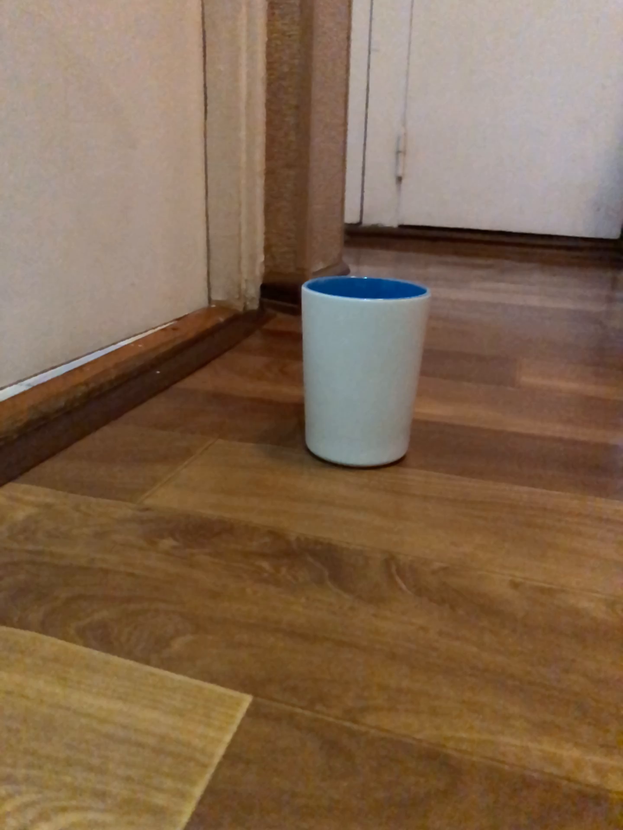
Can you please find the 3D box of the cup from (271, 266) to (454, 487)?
[{"bbox_3d":[0.039,-0.036,0.476,0.088,0.112,0.130,9,21,18],"label":"cup"}]
